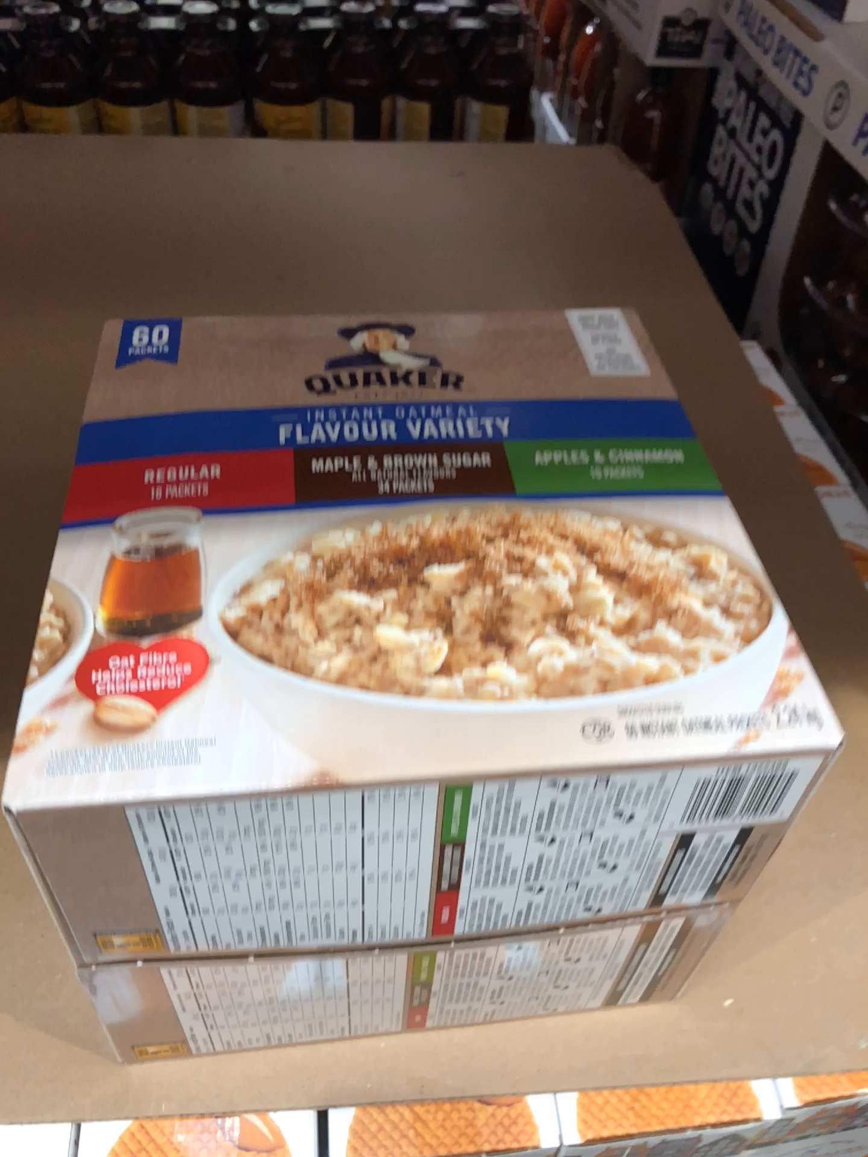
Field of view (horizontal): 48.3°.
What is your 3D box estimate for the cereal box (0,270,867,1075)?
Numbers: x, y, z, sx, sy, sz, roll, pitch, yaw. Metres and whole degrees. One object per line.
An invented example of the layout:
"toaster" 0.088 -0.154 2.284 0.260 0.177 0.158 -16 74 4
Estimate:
"cereal box" -0.016 0.026 0.414 0.240 0.199 0.261 -3 46 -7
